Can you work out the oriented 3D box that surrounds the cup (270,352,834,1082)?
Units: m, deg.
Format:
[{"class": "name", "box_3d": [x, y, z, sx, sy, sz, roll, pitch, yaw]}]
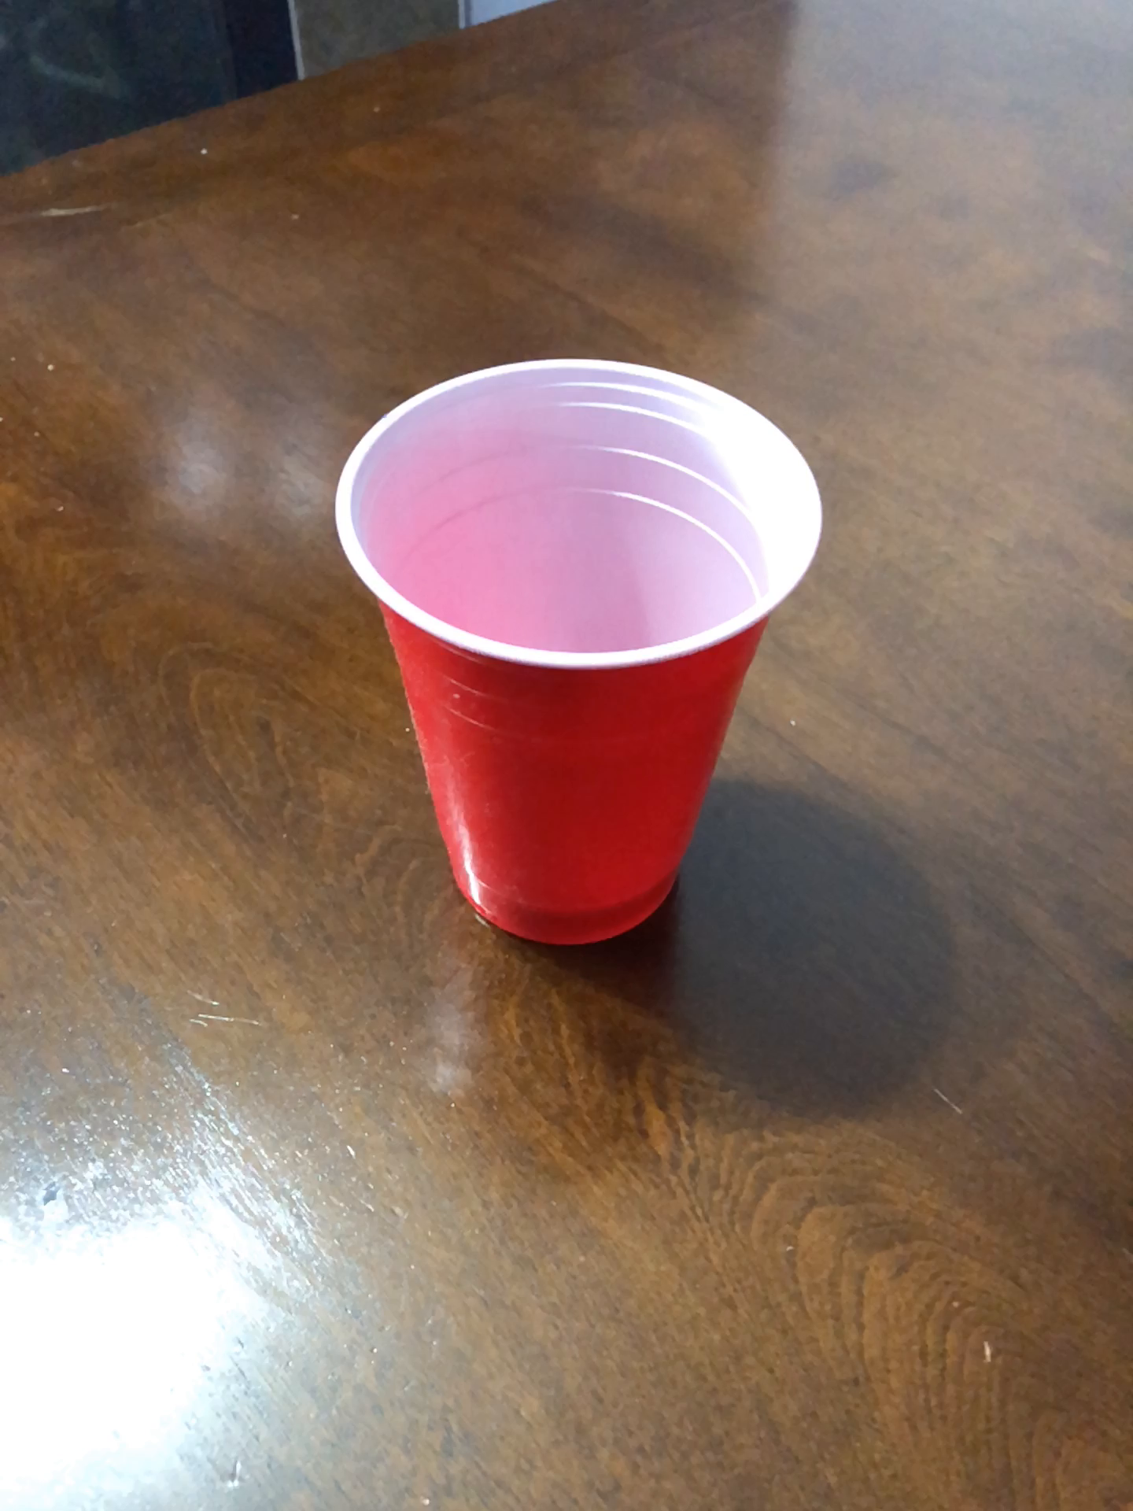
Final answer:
[{"class": "cup", "box_3d": [0.002, -0.006, 0.275, 0.090, 0.120, 0.090, 1, 47, -1]}]
